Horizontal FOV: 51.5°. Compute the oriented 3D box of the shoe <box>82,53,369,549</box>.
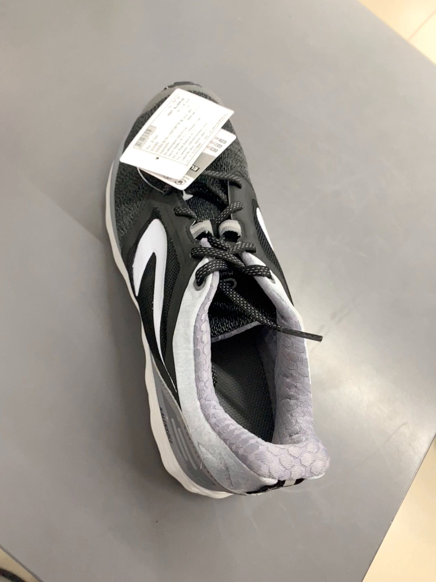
[{"bbox_3d":[-0.012,-0.005,0.265,0.100,0.090,0.240,-7,75,-16],"label":"shoe"}]
